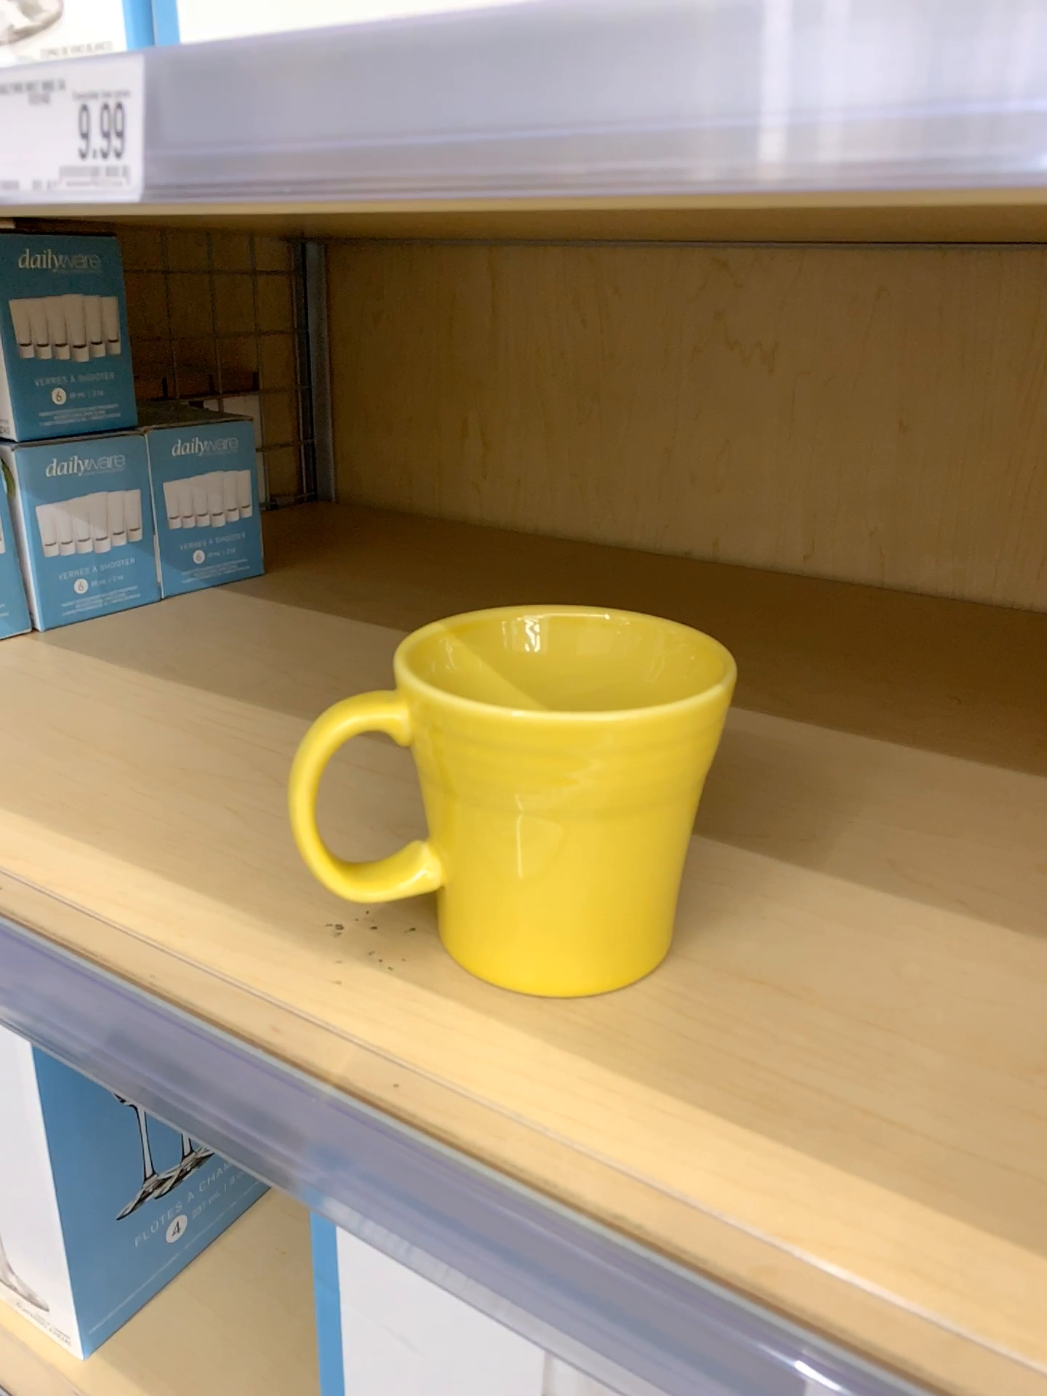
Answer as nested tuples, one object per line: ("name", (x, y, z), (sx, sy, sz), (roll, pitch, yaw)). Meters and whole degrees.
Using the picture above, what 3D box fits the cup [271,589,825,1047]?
("cup", (0.001, 0.027, 0.339), (0.139, 0.088, 0.104), (-6, 22, -19))
